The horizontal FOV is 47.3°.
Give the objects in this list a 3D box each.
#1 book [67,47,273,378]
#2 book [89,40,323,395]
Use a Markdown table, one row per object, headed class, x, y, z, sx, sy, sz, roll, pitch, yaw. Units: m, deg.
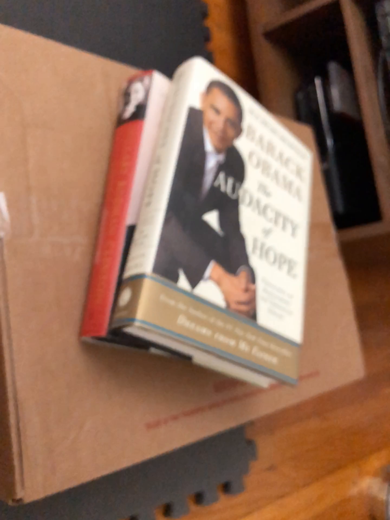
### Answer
| class | x | y | z | sx | sy | sz | roll | pitch | yaw |
| --- | --- | --- | --- | --- | --- | --- | --- | --- | --- |
| book | -0.003 | -0.036 | 0.398 | 0.171 | 0.040 | 0.250 | 22 | 63 | -36 |
| book | 0.033 | -0.032 | 0.388 | 0.191 | 0.040 | 0.251 | 28 | 59 | -33 |
